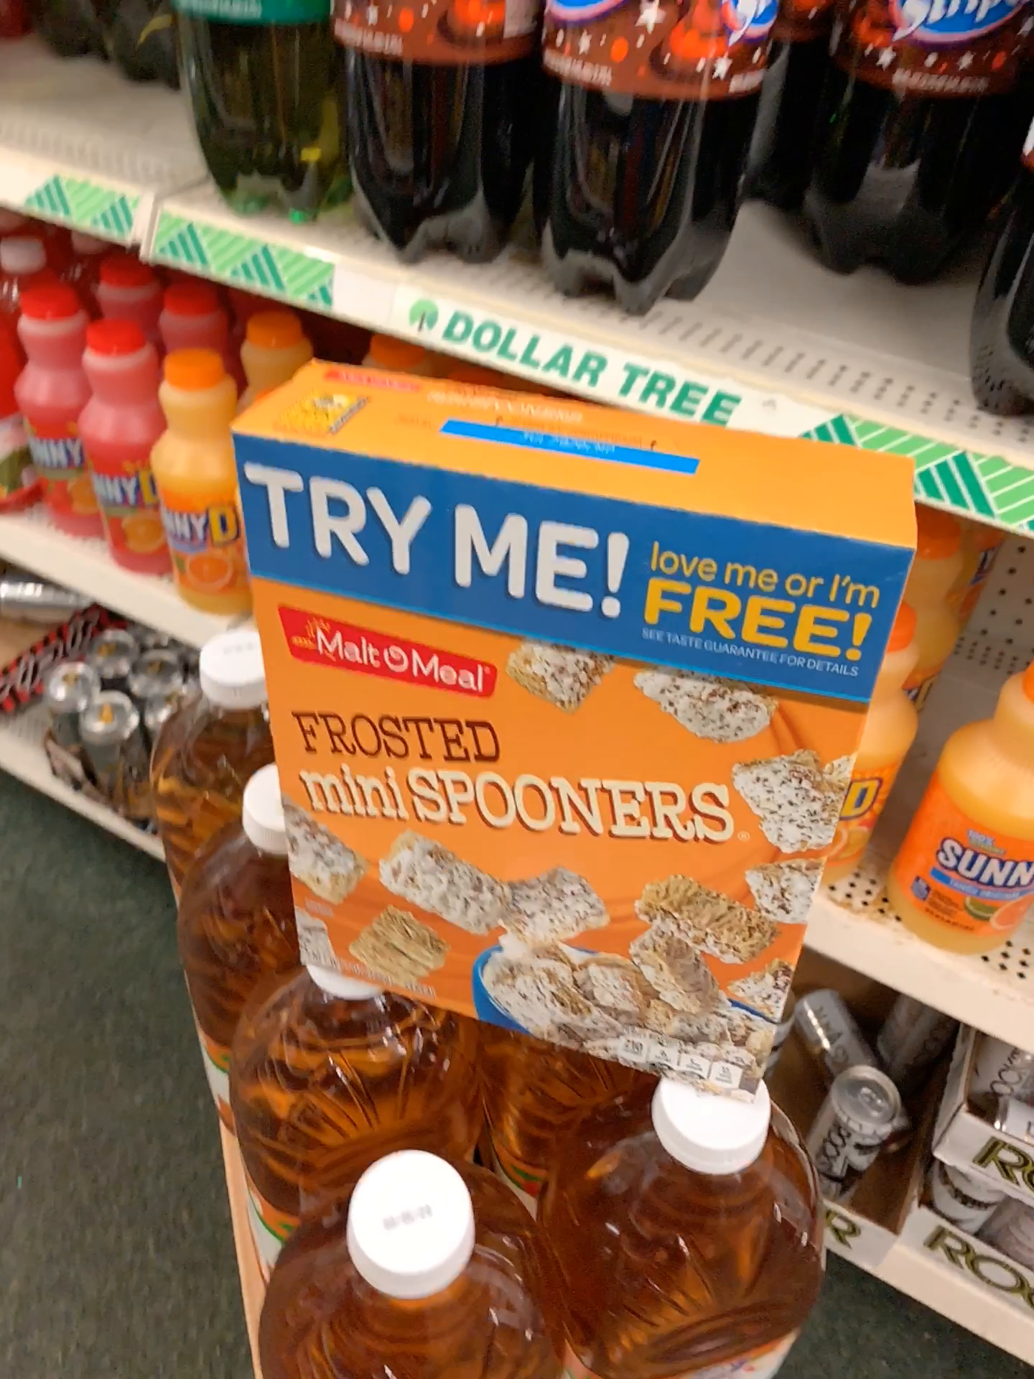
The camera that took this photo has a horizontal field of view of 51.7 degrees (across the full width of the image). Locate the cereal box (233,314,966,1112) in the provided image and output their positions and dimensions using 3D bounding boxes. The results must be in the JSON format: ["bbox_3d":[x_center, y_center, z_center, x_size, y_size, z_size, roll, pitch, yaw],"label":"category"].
[{"bbox_3d":[0.013,0.017,0.329,0.170,0.219,0.060,13,37,10],"label":"cereal box"}]
